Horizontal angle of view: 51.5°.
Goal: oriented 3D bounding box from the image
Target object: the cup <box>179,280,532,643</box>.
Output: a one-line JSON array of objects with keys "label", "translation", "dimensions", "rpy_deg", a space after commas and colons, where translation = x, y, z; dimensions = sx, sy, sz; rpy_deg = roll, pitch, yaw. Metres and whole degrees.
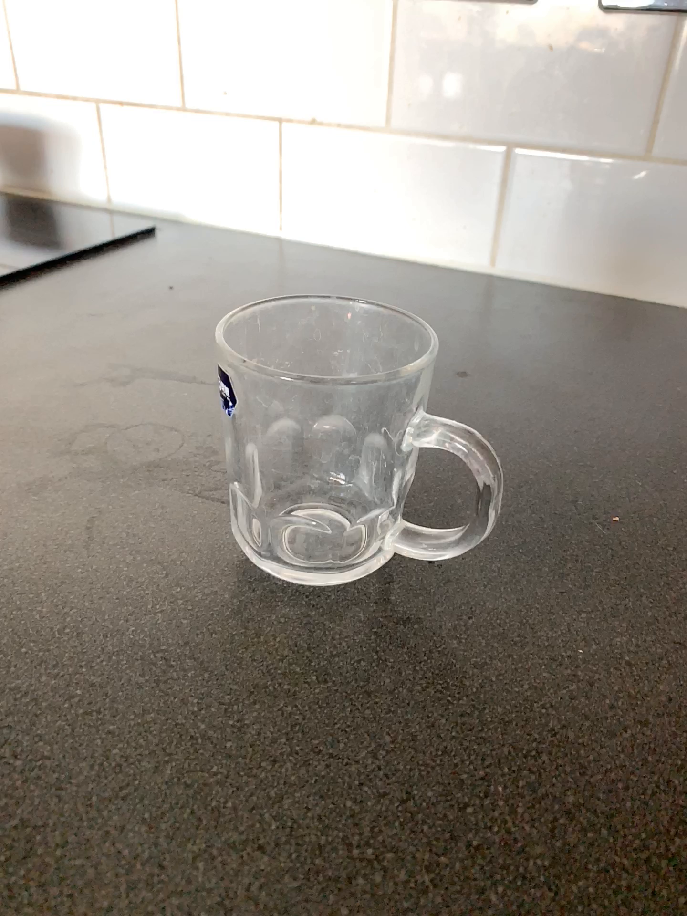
[{"label": "cup", "translation": [0.006, -0.003, 0.258], "dimensions": [0.100, 0.090, 0.071], "rpy_deg": [12, 32, 14]}]
